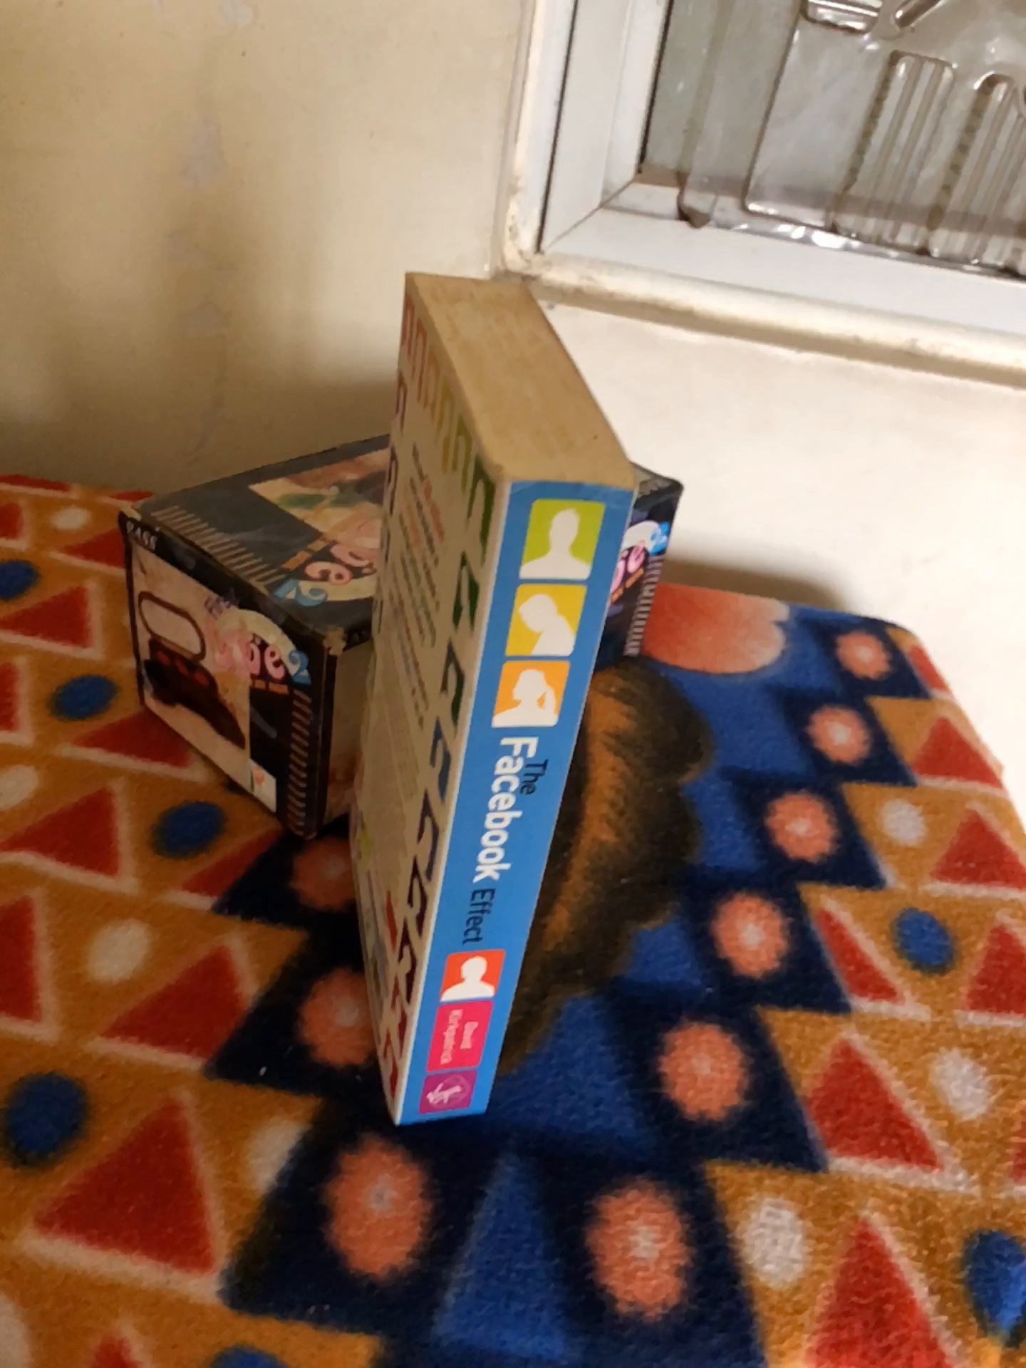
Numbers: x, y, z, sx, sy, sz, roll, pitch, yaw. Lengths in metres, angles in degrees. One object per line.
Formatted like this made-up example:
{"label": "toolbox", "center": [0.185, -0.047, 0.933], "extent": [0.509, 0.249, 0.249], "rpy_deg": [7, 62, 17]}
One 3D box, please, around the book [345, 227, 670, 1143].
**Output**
{"label": "book", "center": [-0.018, 0.000, 0.337], "extent": [0.040, 0.219, 0.151], "rpy_deg": [-1, 35, -14]}
